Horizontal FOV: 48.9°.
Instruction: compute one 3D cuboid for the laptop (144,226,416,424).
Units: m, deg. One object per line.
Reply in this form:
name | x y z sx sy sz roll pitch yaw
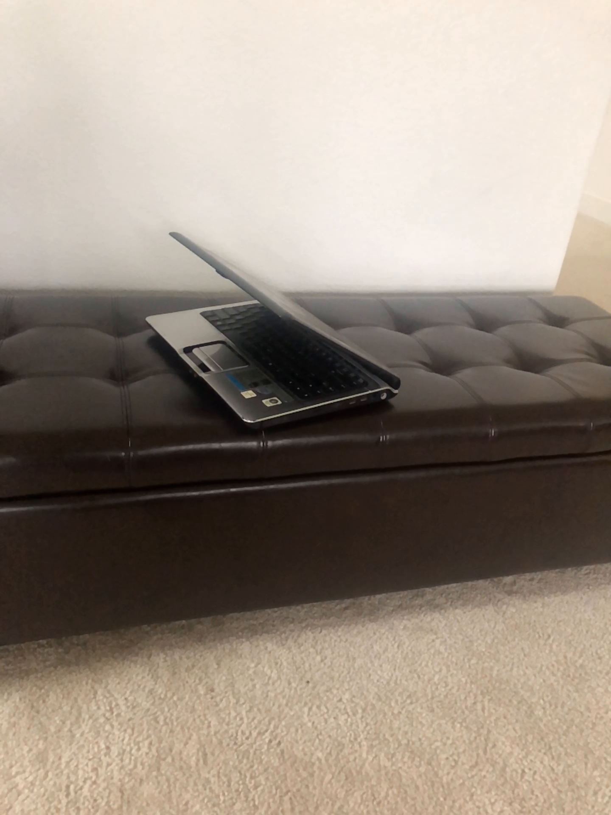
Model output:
laptop | -0.052 -0.135 0.916 0.230 0.122 0.334 -13 34 -30
